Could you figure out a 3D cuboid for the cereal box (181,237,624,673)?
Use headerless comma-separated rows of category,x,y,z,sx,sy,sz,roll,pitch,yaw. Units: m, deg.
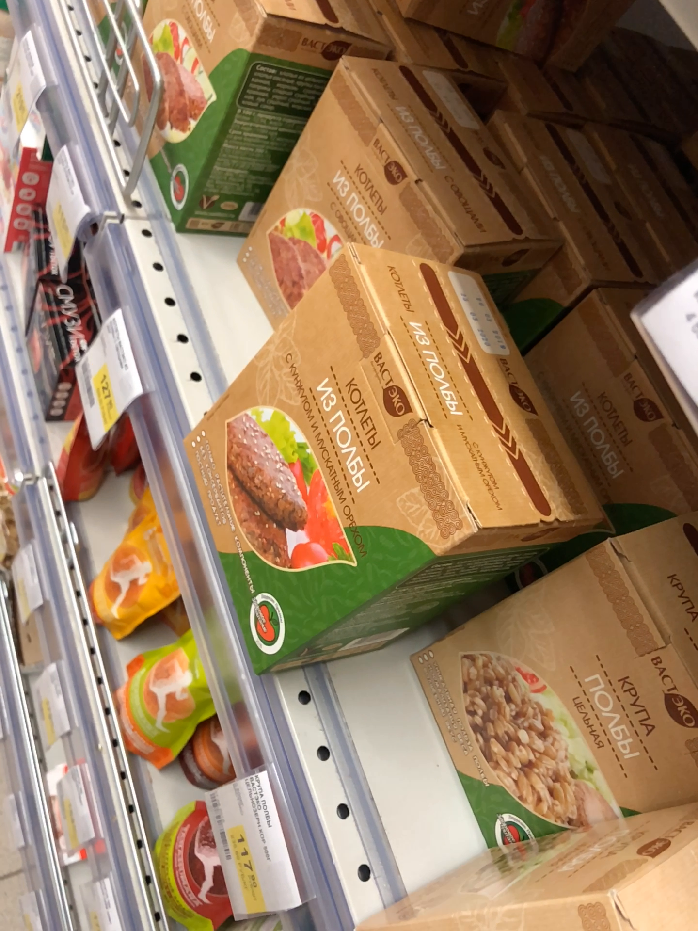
cereal box,0.013,0.002,0.339,0.090,0.139,0.120,-2,62,-43
